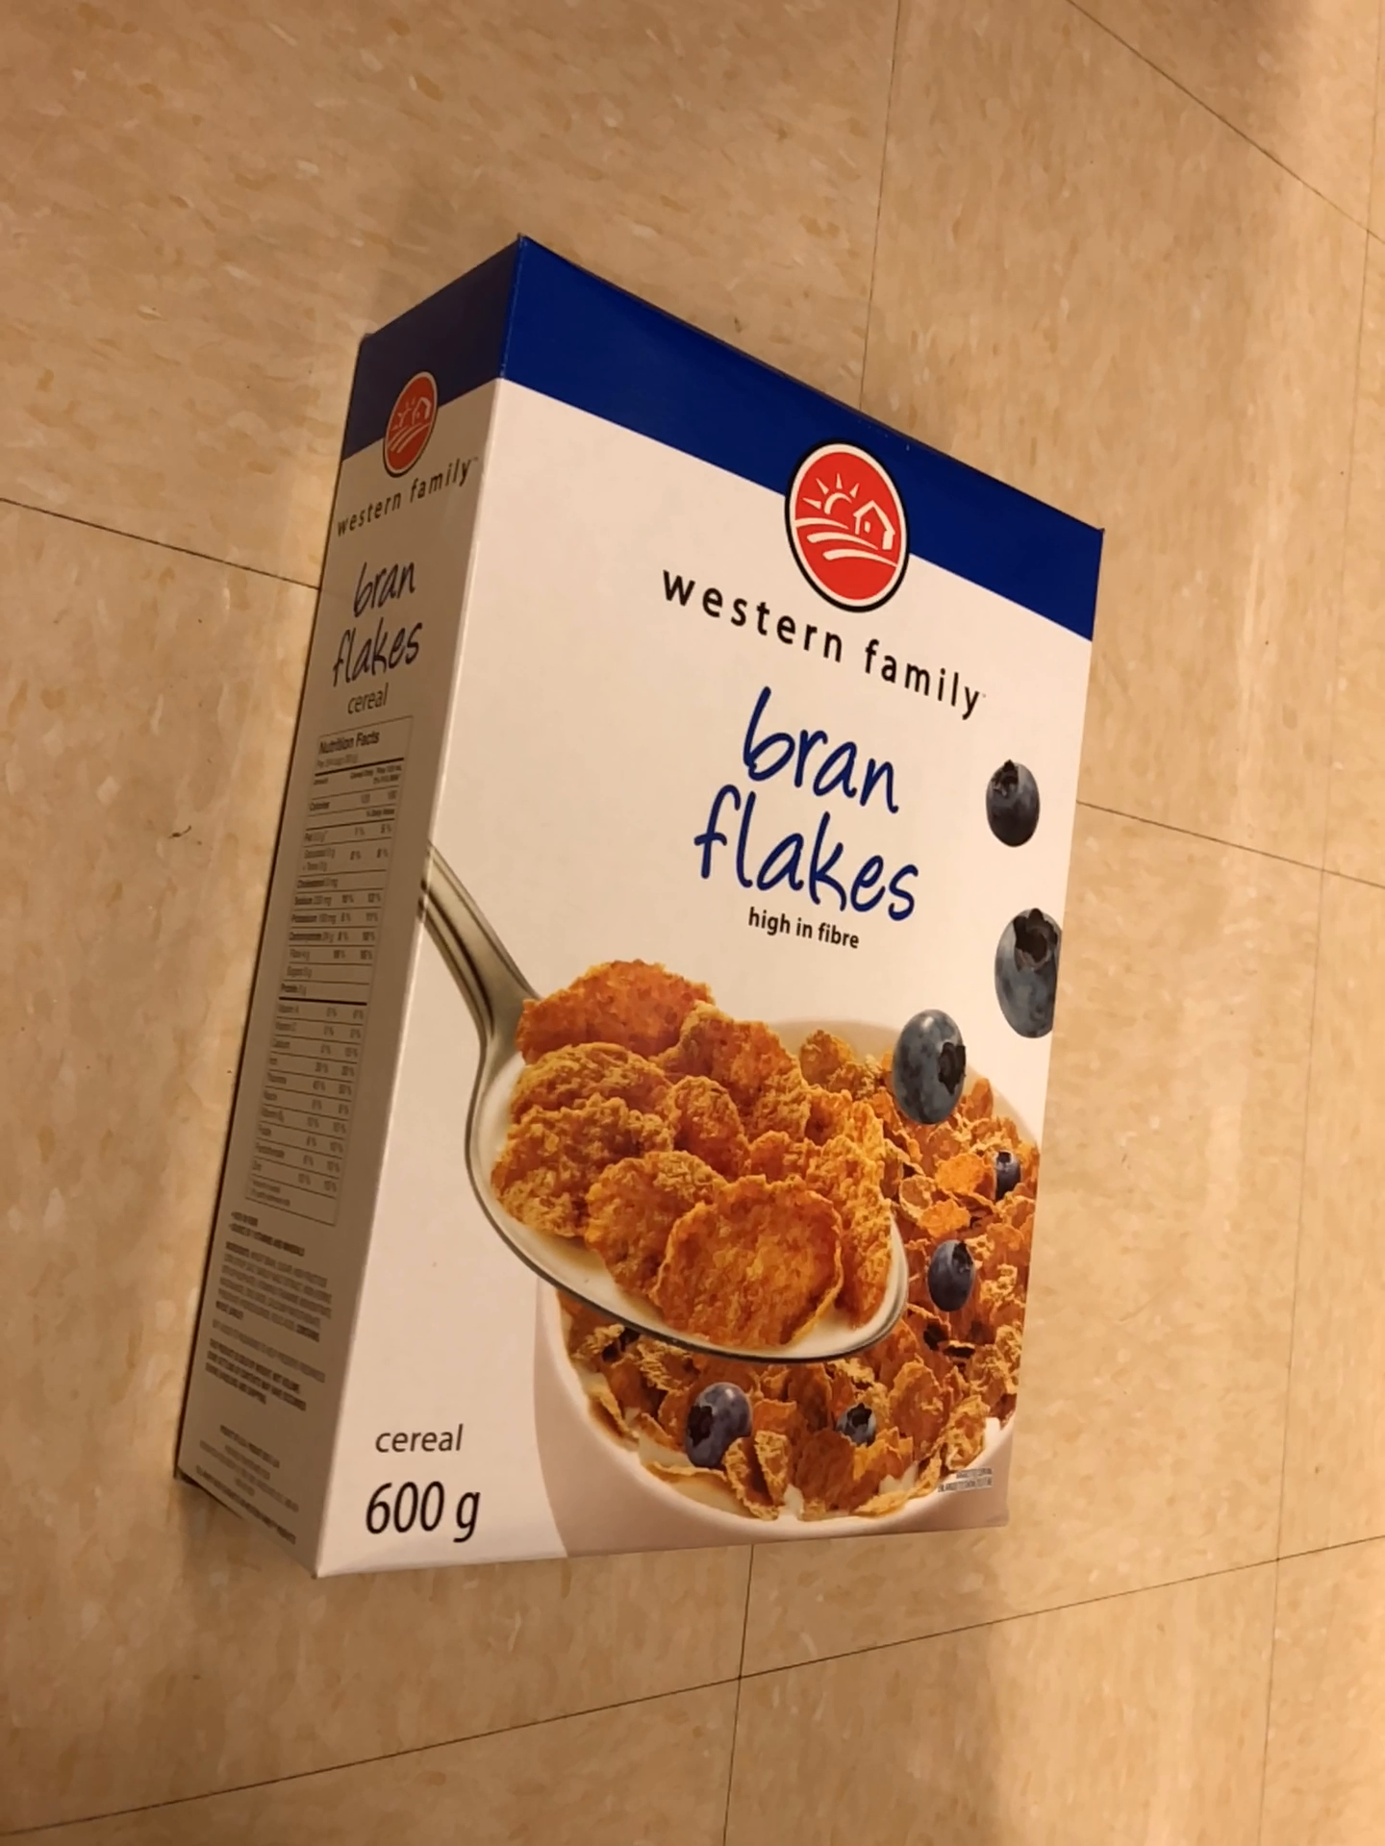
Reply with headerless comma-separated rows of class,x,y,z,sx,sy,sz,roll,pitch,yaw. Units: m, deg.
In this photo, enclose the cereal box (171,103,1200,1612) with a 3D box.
cereal box,0.014,-0.002,0.398,0.221,0.090,0.300,12,83,-37
